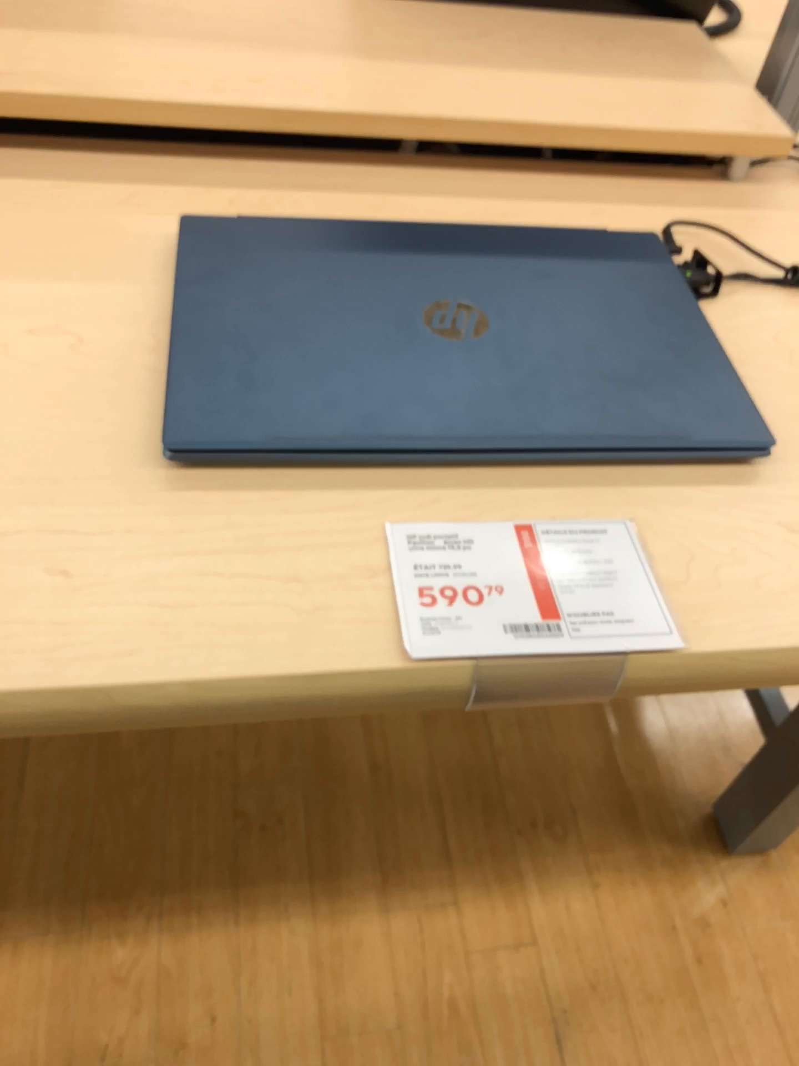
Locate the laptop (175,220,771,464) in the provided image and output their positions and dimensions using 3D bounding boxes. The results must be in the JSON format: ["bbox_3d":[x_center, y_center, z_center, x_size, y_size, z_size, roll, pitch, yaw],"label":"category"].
[{"bbox_3d":[0.036,-0.132,0.586,0.352,0.012,0.221,-1,52,-8],"label":"laptop"}]
